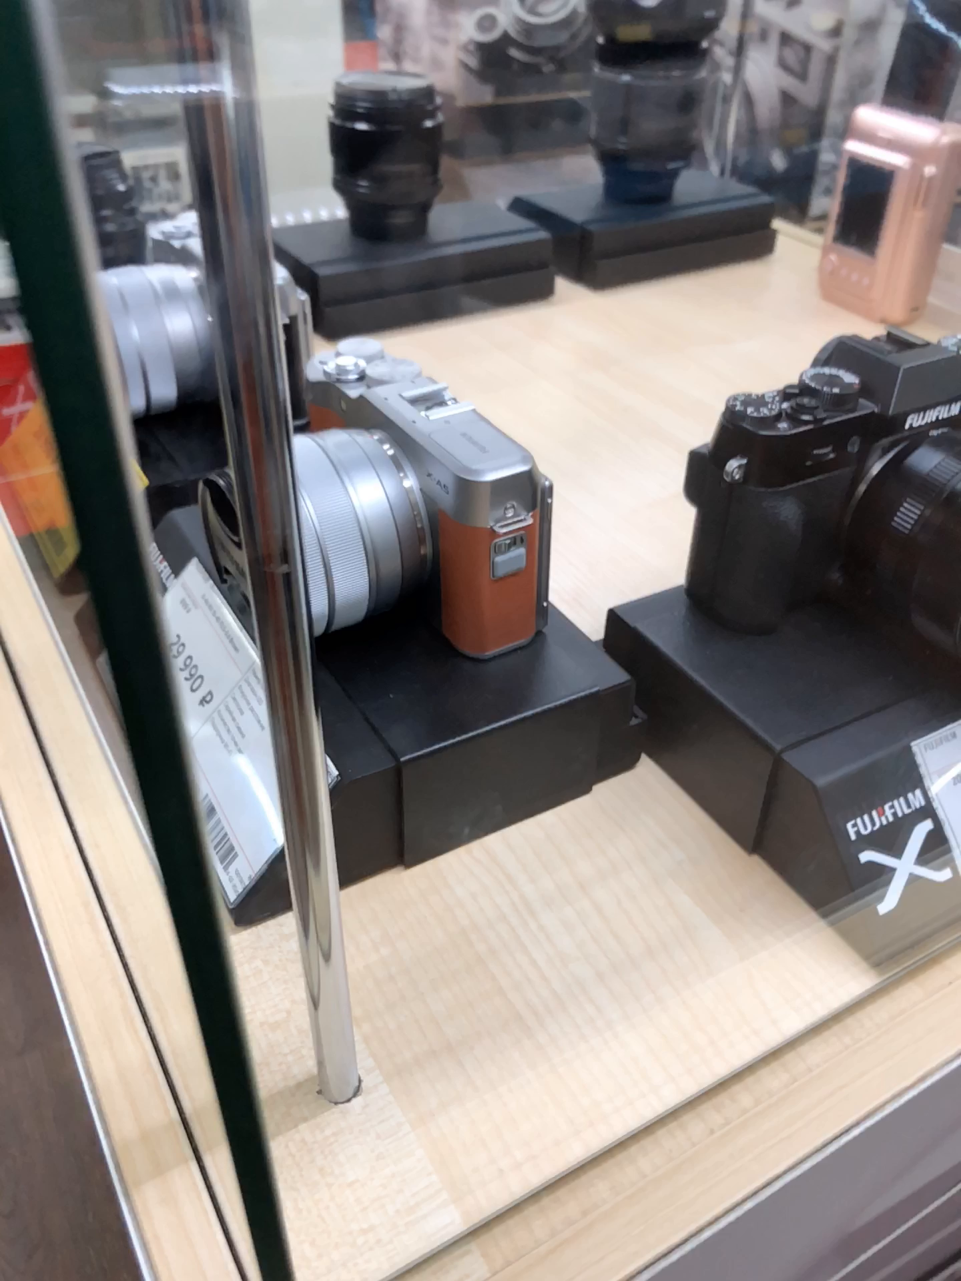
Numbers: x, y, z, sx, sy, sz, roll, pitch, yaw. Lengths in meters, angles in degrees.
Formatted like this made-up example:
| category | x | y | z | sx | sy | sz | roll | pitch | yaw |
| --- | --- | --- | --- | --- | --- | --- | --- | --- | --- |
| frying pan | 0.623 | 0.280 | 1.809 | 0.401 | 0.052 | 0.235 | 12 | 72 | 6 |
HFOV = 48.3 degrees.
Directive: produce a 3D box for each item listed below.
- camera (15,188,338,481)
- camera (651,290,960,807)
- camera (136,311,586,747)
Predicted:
| category | x | y | z | sx | sy | sz | roll | pitch | yaw |
| --- | --- | --- | --- | --- | --- | --- | --- | --- | --- |
| camera | -0.132 | -0.138 | 0.465 | 0.093 | 0.075 | 0.121 | -19 | 40 | -25 |
| camera | 0.145 | -0.038 | 0.335 | 0.131 | 0.090 | 0.113 | -18 | 40 | -25 |
| camera | -0.042 | -0.044 | 0.347 | 0.093 | 0.075 | 0.121 | -19 | 40 | -25 |
